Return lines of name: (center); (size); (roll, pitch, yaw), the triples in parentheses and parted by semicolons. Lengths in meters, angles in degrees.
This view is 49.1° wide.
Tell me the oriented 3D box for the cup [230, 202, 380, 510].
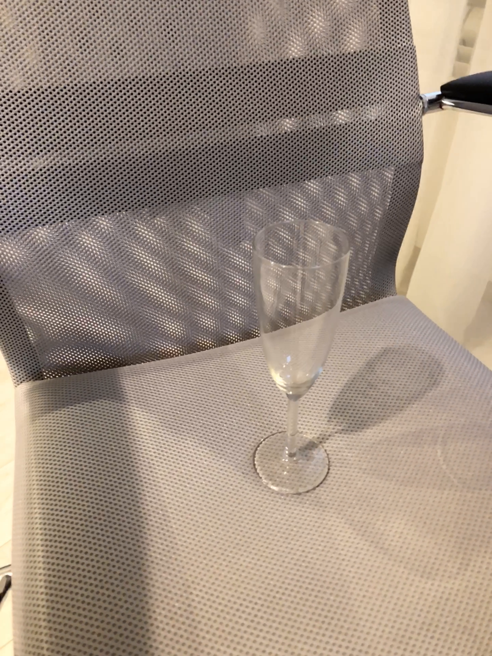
cup: (0.036, 0.032, 0.404); (0.074, 0.228, 0.075); (-1, 38, 1)
